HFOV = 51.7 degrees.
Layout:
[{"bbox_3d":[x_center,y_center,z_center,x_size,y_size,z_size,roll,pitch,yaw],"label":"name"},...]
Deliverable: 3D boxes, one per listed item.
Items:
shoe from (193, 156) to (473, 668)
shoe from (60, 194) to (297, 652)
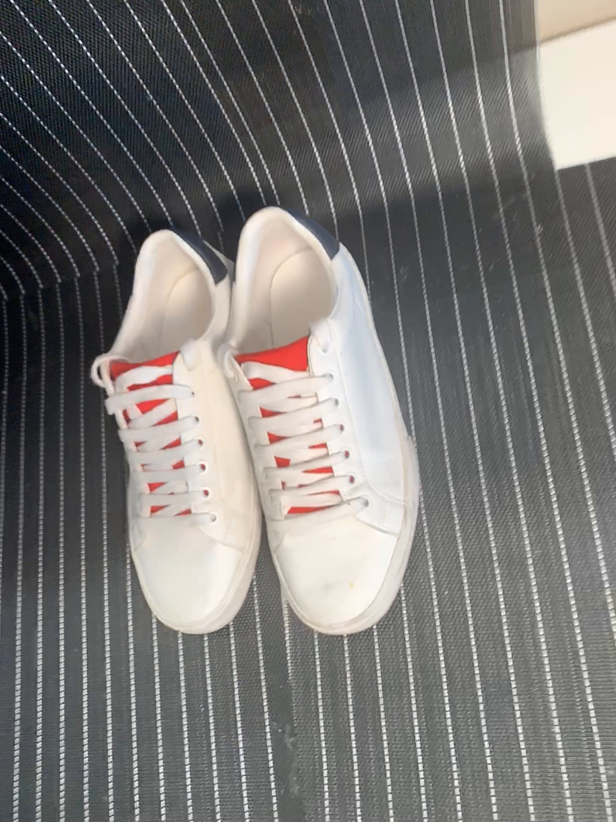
[{"bbox_3d":[0.012,0.001,0.414,0.120,0.090,0.290,-13,71,15],"label":"shoe"},{"bbox_3d":[-0.082,0.011,0.448,0.120,0.090,0.290,-7,73,17],"label":"shoe"}]
